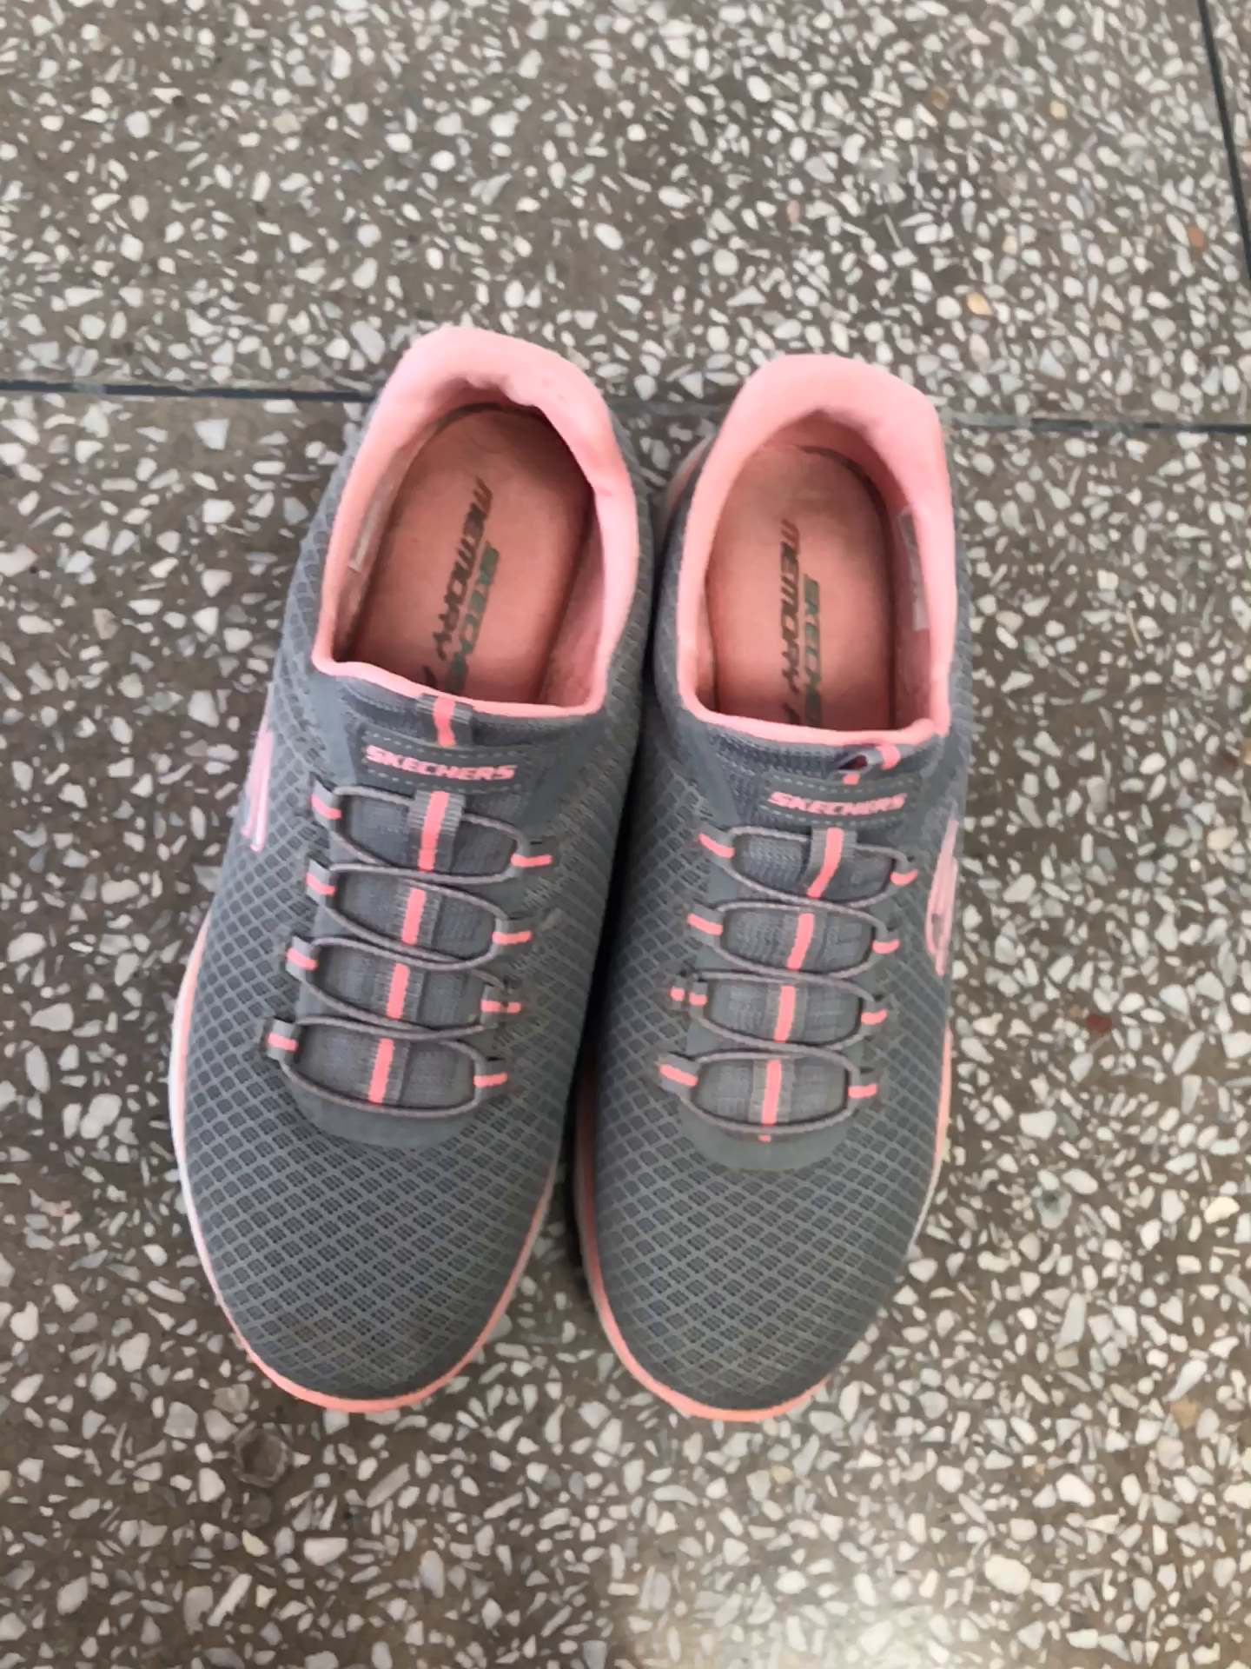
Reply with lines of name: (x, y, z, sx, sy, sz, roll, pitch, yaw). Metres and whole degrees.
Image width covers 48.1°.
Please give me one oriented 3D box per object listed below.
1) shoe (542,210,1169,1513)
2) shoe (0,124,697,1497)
shoe: (0.049, 0.007, 0.323, 0.102, 0.108, 0.246, 7, 76, -7)
shoe: (-0.051, -0.006, 0.306, 0.097, 0.095, 0.252, 7, 76, -7)
